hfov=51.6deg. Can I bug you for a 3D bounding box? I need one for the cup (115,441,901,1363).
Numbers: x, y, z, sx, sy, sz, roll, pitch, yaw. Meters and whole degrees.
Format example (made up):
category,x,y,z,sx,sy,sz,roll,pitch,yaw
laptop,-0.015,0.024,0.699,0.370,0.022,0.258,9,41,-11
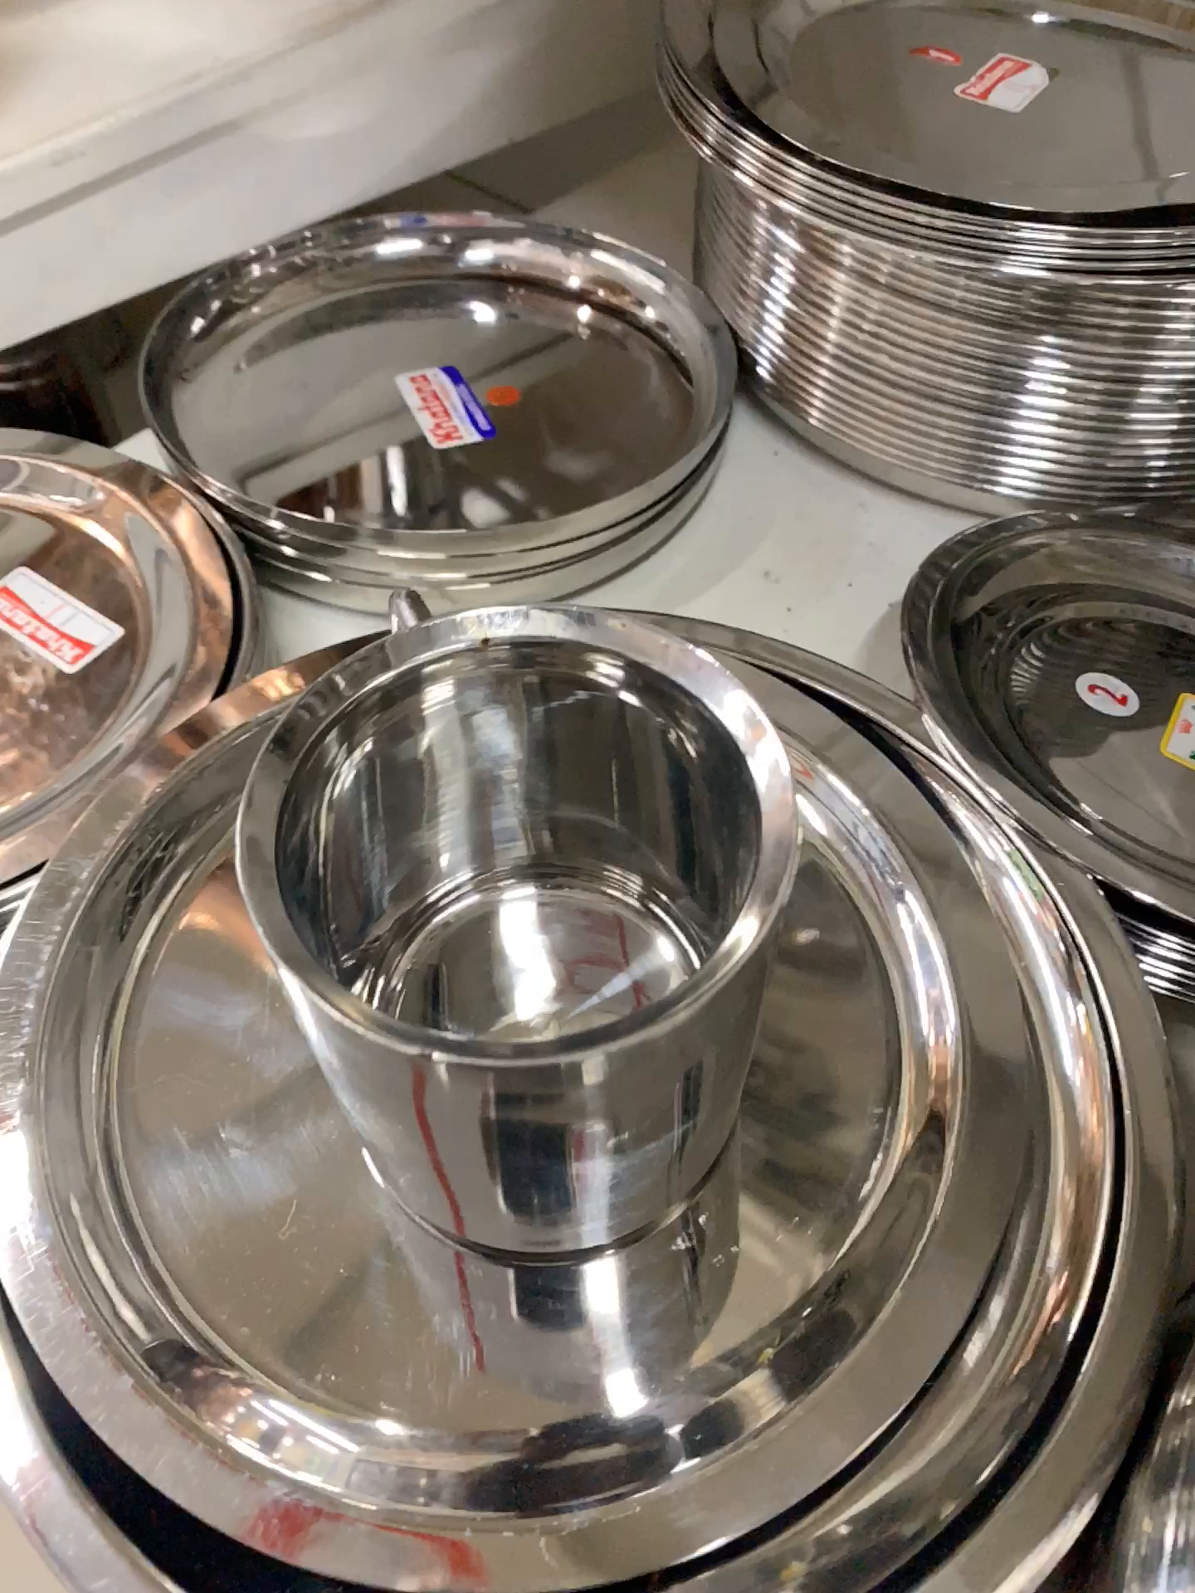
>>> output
category,x,y,z,sx,sy,sz,roll,pitch,yaw
cup,-0.019,0.017,0.216,0.080,0.090,0.110,-20,55,-14
